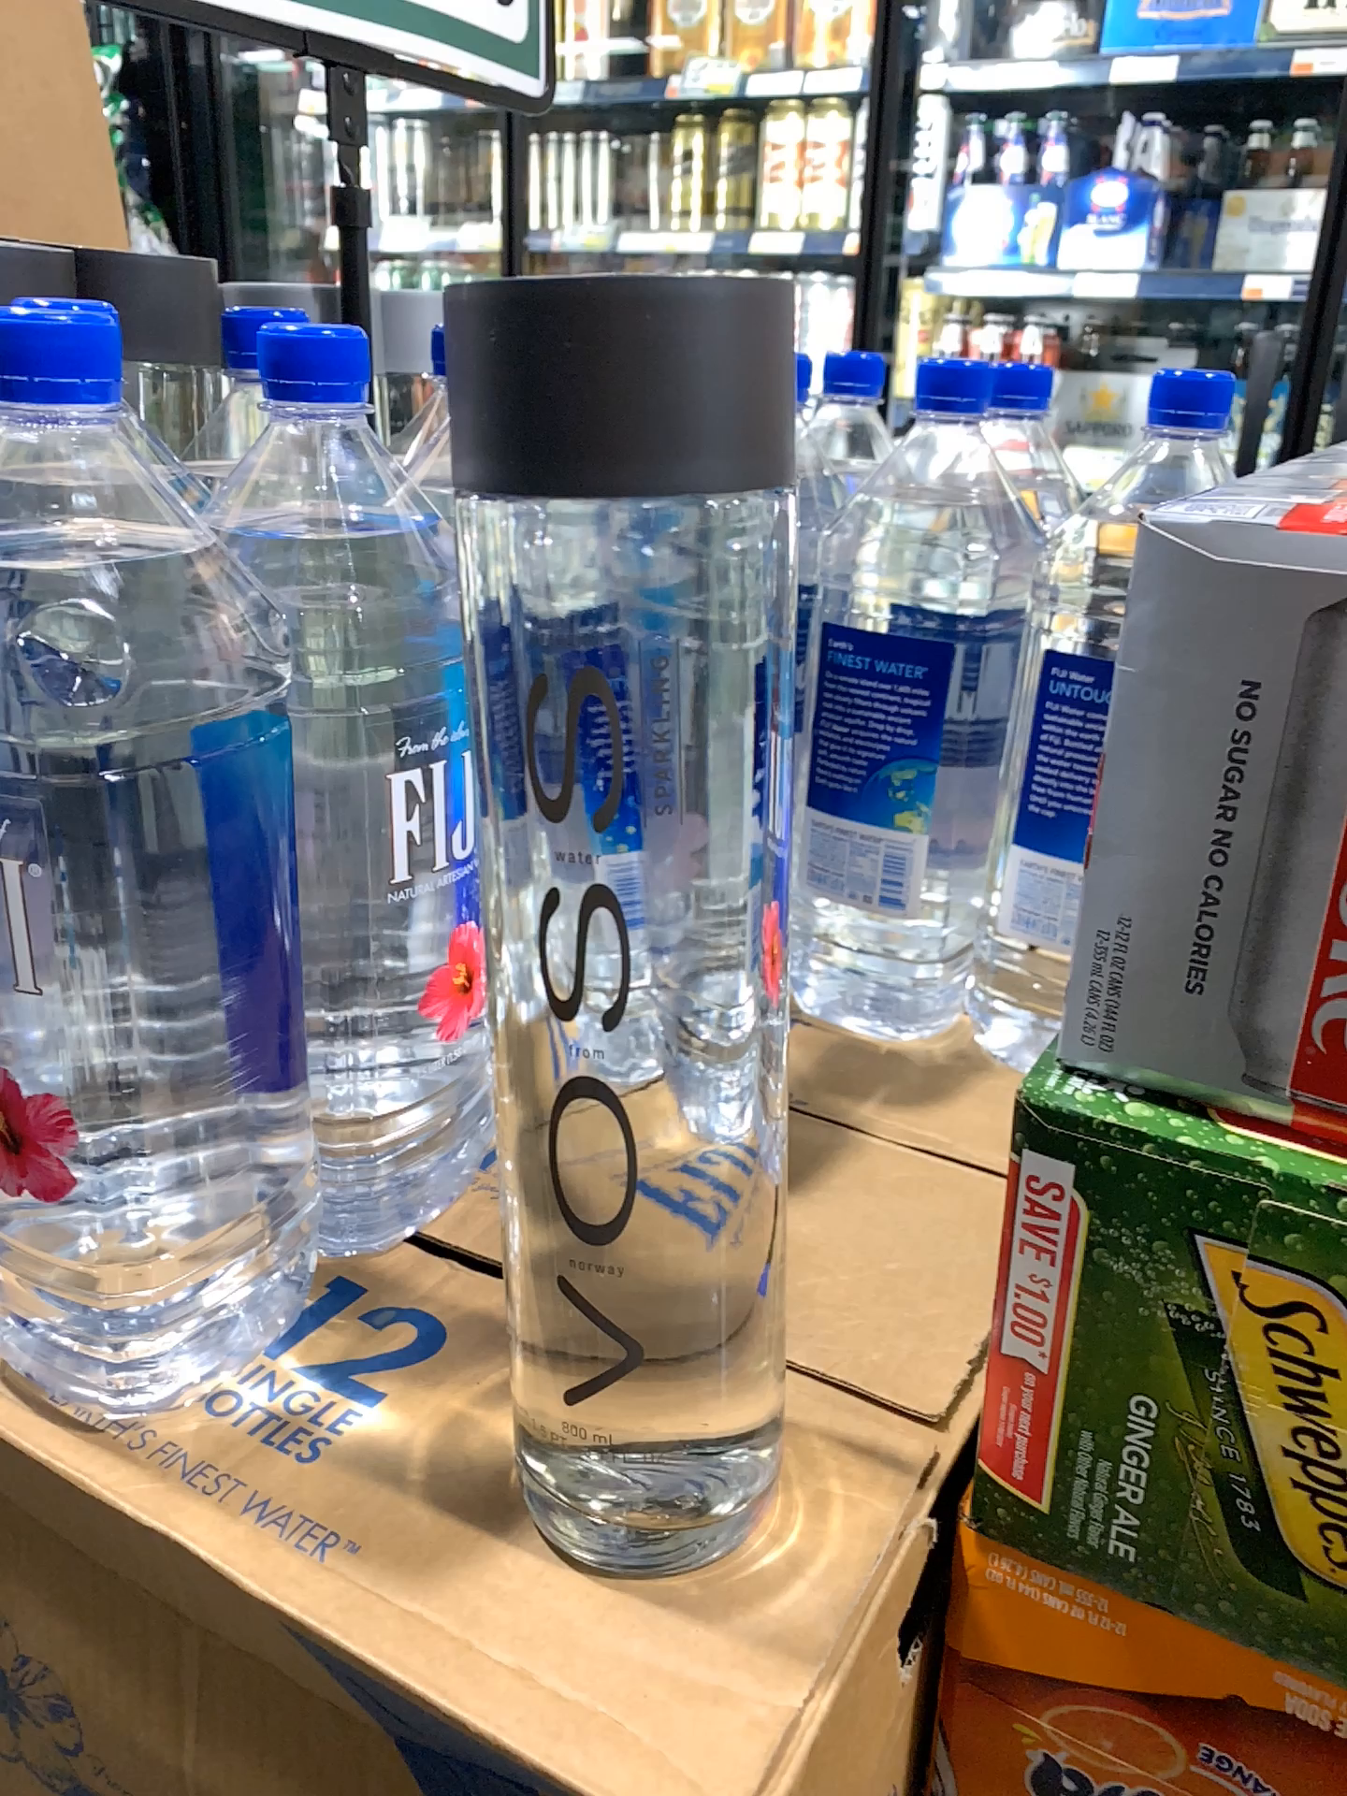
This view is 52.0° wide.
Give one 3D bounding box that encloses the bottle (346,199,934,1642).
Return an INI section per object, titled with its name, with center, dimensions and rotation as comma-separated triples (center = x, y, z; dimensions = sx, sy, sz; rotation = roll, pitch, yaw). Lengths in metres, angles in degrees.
[bottle]
center = -0.005, 0.011, 0.306
dimensions = 0.080, 0.289, 0.080
rotation = 1, 21, 0
